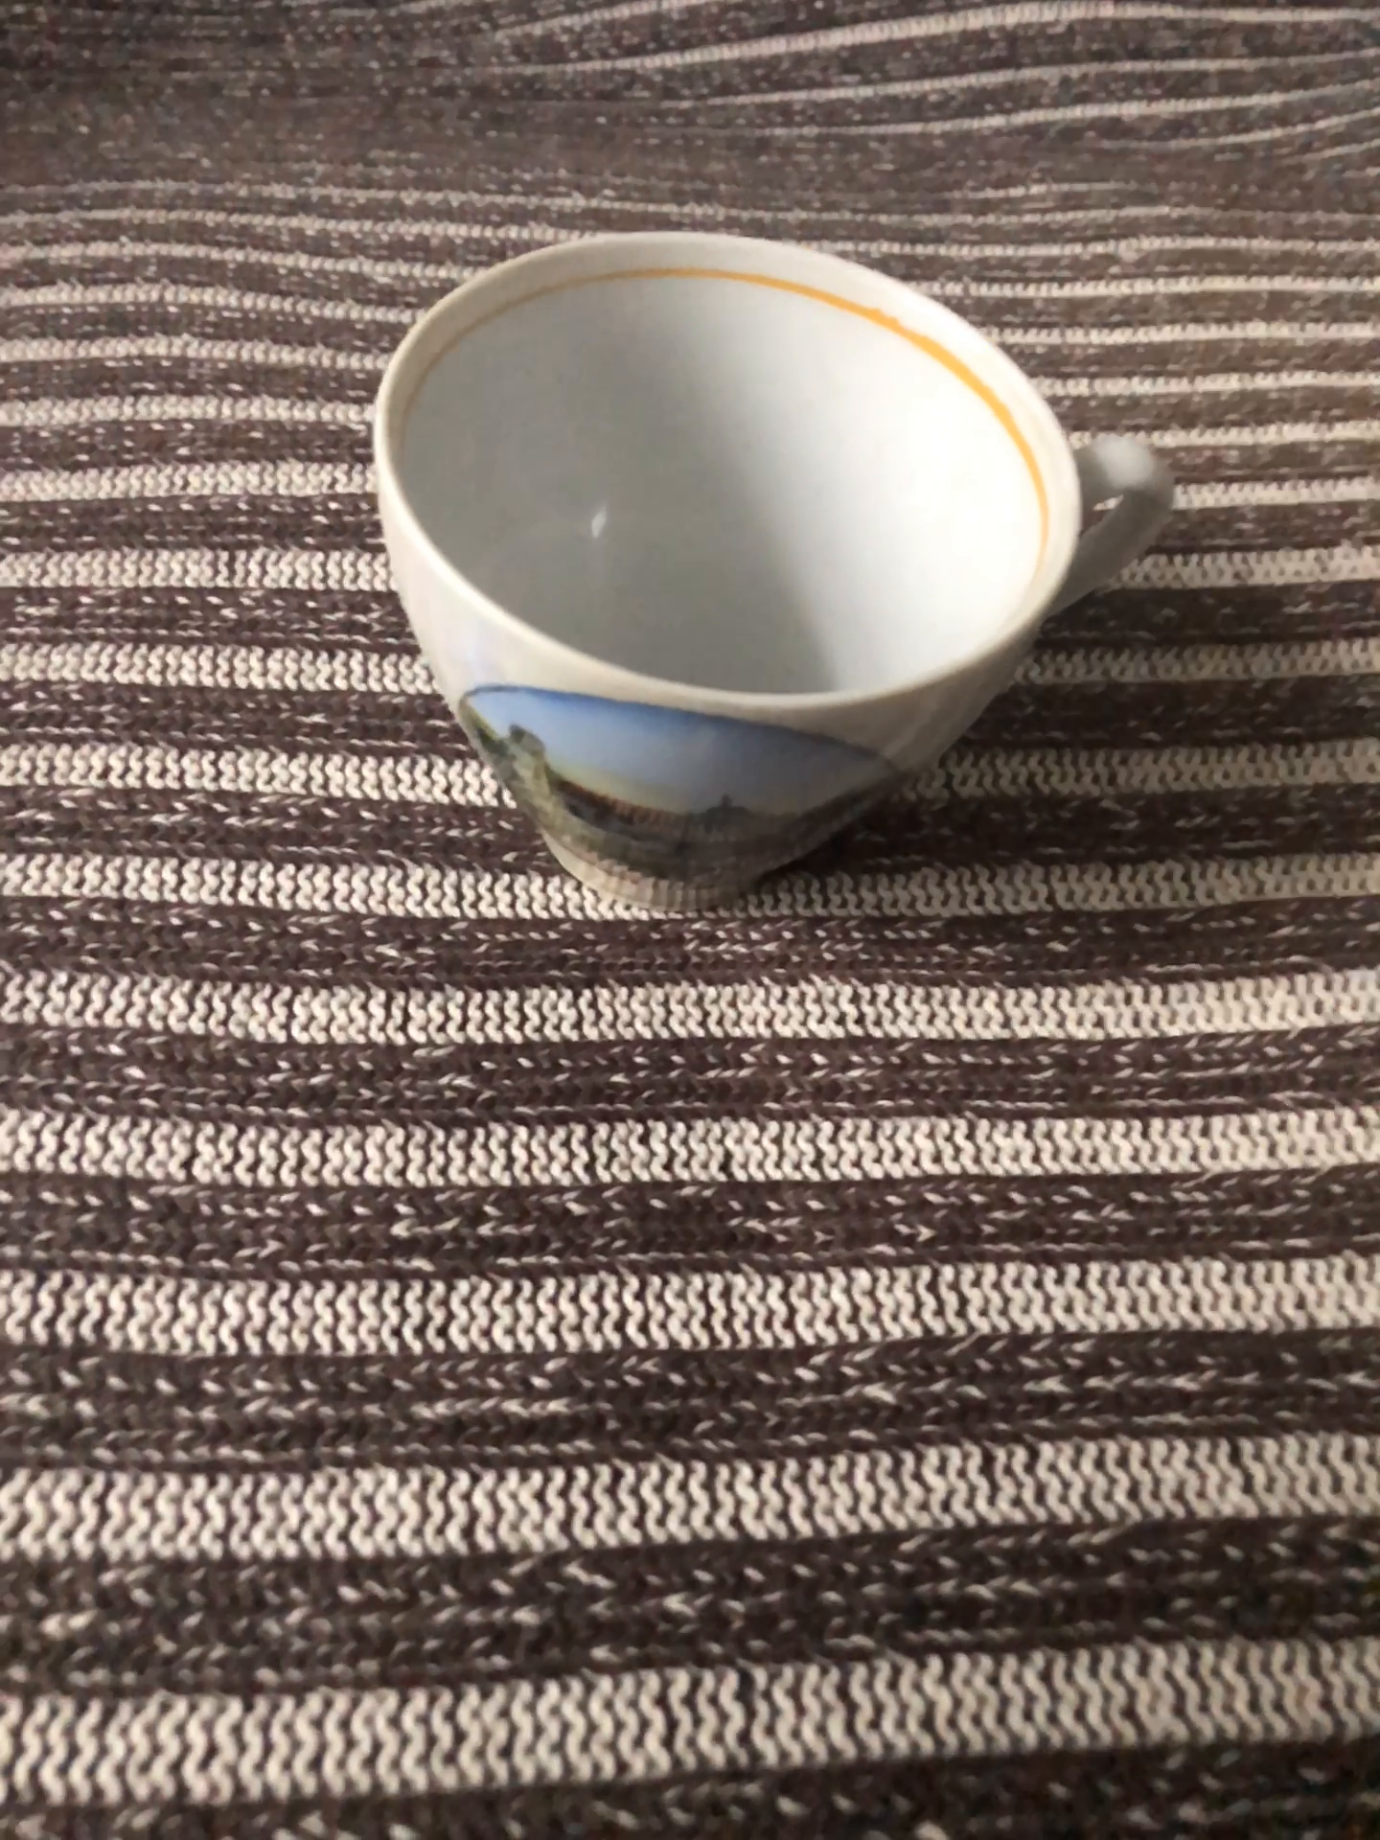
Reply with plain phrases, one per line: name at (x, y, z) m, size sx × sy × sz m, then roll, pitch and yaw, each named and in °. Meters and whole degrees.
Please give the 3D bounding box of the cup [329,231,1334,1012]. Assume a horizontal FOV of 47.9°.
cup at (0.008, -0.031, 0.156) m, size 0.079 × 0.042 × 0.061 m, roll -5°, pitch 59°, yaw -11°
